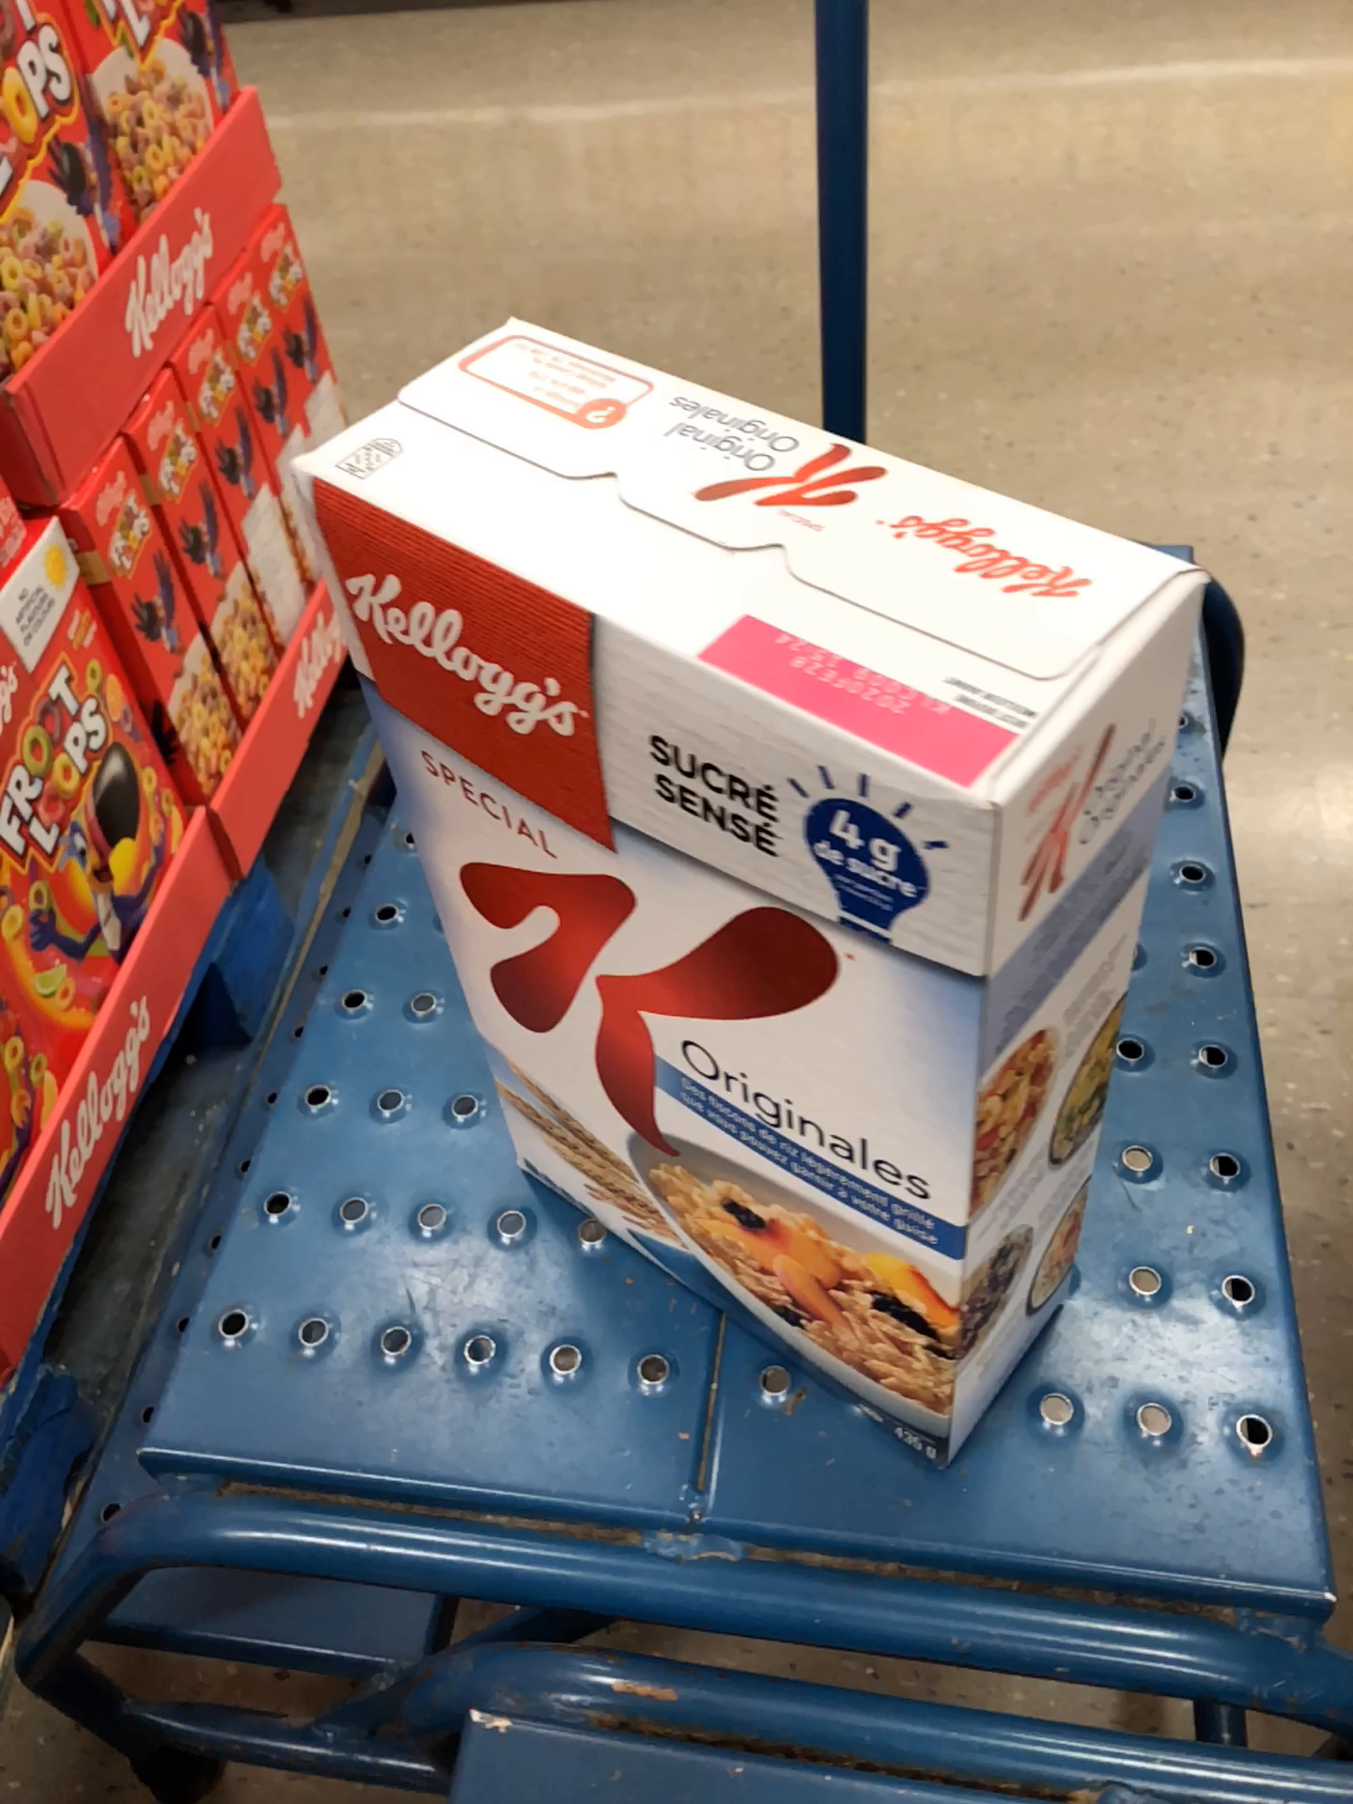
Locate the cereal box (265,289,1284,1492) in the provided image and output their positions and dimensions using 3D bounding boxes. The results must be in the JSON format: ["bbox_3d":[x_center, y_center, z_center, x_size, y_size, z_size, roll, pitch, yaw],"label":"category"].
[{"bbox_3d":[0.024,0.012,0.424,0.210,0.299,0.080,29,57,30],"label":"cereal box"}]
